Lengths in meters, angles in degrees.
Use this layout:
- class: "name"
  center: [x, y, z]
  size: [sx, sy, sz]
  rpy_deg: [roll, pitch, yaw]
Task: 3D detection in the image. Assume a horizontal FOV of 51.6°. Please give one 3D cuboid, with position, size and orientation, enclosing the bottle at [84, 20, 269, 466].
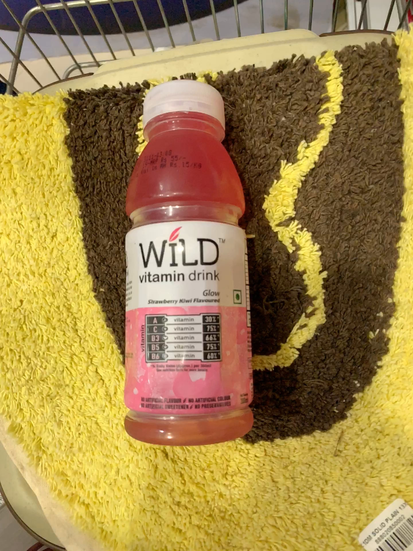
- class: "bottle"
  center: [-0.009, -0.010, 0.183]
  size: [0.060, 0.050, 0.160]
  rpy_deg: [-3, 90, 11]
